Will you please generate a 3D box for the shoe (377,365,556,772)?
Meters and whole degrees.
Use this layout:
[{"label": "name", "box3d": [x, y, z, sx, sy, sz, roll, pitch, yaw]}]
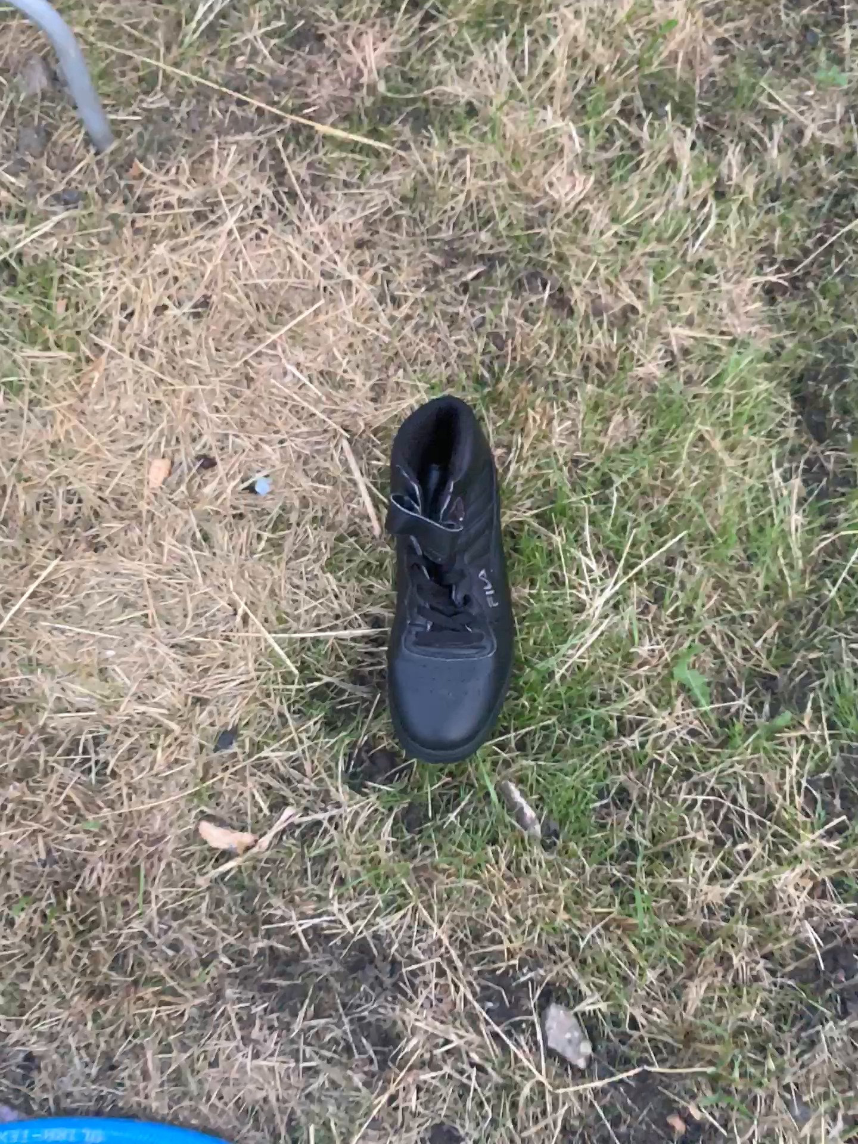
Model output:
[{"label": "shoe", "box3d": [0.021, 0.001, 0.645, 0.110, 0.120, 0.271, 1, 70, -3]}]
